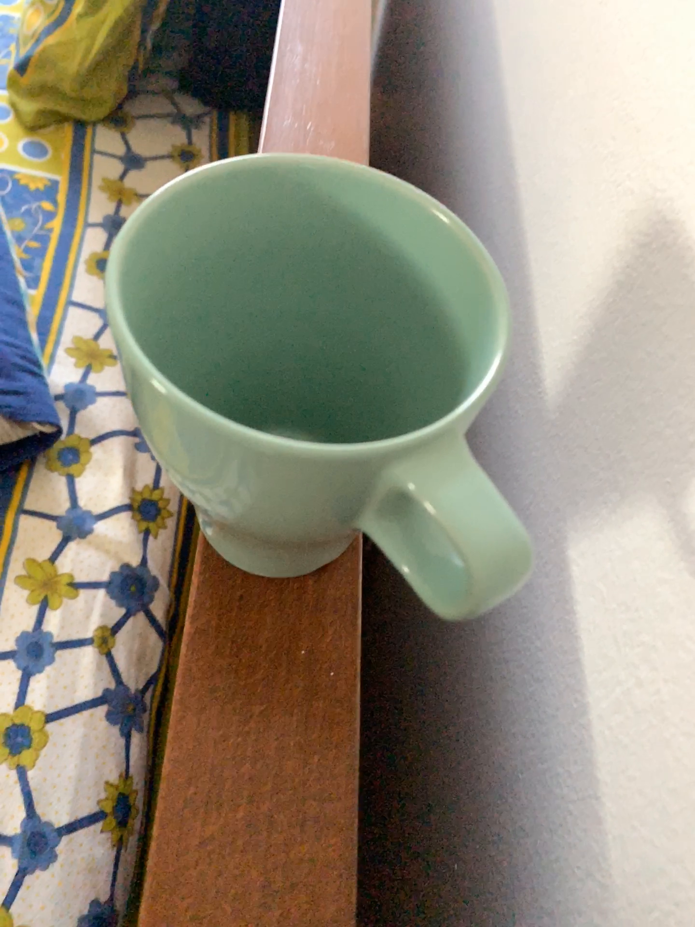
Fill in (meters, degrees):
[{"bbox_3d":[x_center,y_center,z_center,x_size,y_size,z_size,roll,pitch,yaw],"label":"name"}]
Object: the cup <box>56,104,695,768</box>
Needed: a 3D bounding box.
[{"bbox_3d":[0.001,-0.005,0.188,0.082,0.091,0.123,-30,69,-22],"label":"cup"}]
